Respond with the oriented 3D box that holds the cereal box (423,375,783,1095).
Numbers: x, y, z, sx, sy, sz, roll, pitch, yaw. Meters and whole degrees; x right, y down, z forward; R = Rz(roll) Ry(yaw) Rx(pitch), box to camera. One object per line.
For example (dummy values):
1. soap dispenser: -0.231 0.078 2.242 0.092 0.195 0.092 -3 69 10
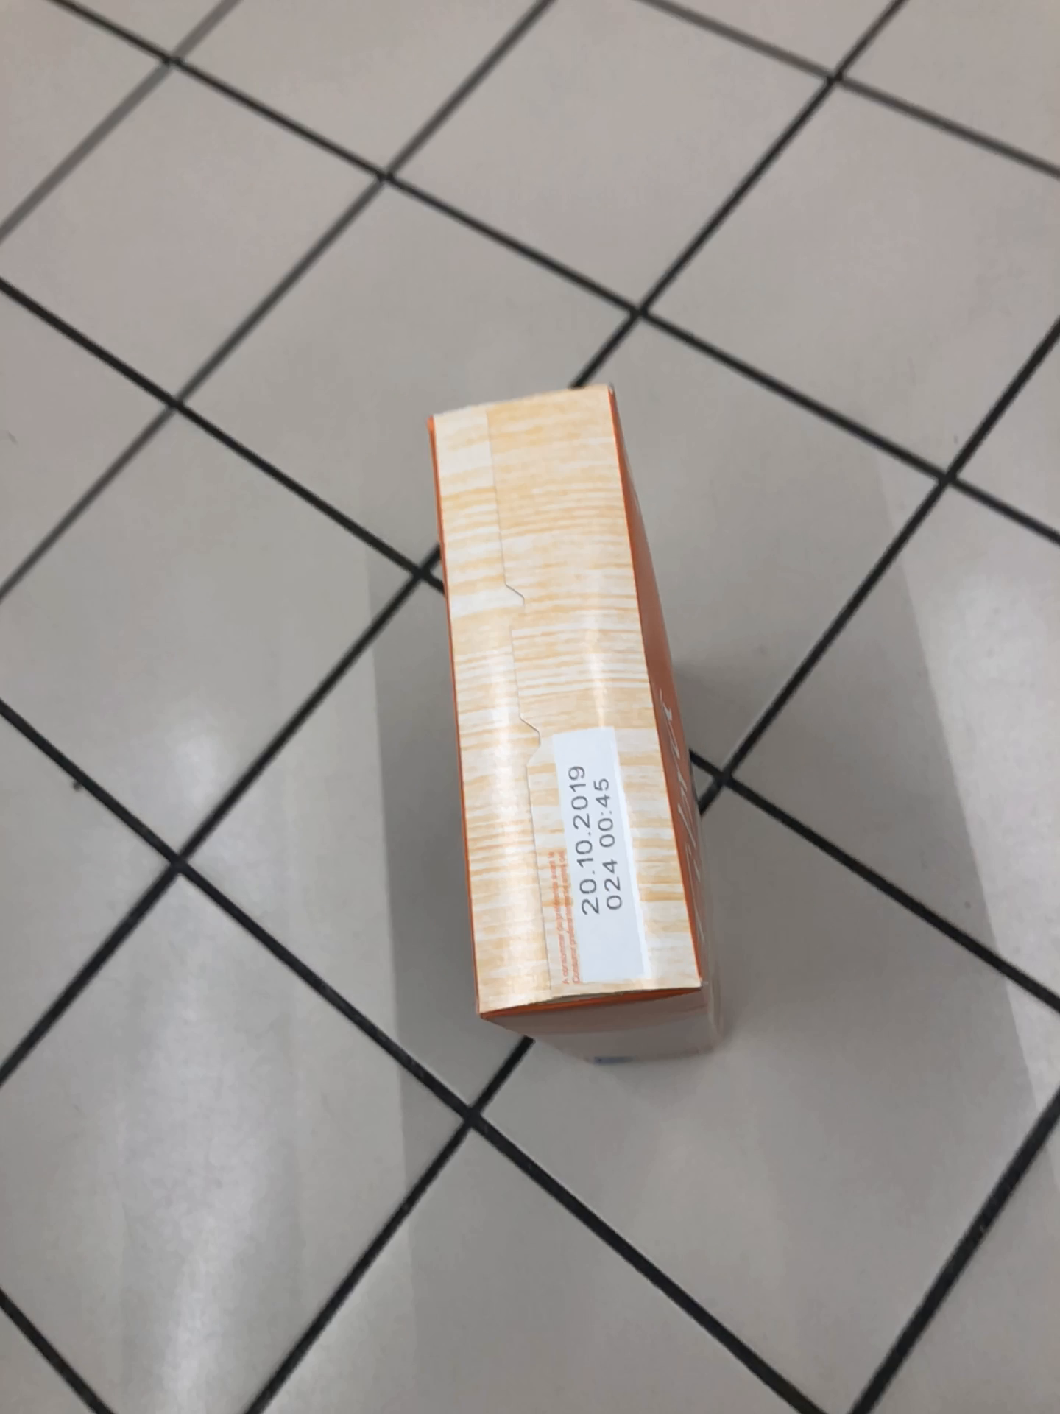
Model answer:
1. cereal box: 0.034 0.035 0.448 0.080 0.239 0.201 -9 69 7
